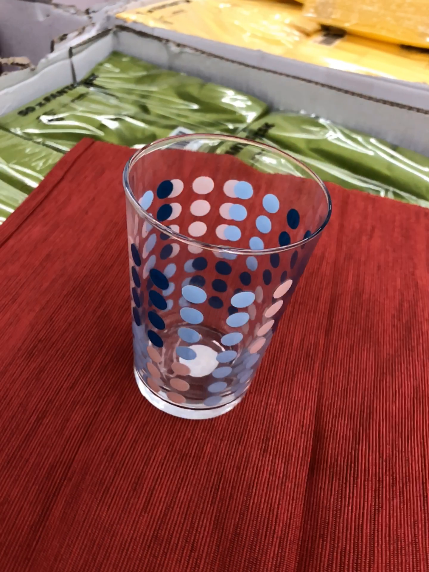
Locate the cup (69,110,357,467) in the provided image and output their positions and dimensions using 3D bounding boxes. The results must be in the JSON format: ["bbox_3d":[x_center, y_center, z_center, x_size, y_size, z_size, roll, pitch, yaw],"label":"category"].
[{"bbox_3d":[0.000,0.001,0.229,0.090,0.120,0.090,5,42,-4],"label":"cup"}]
